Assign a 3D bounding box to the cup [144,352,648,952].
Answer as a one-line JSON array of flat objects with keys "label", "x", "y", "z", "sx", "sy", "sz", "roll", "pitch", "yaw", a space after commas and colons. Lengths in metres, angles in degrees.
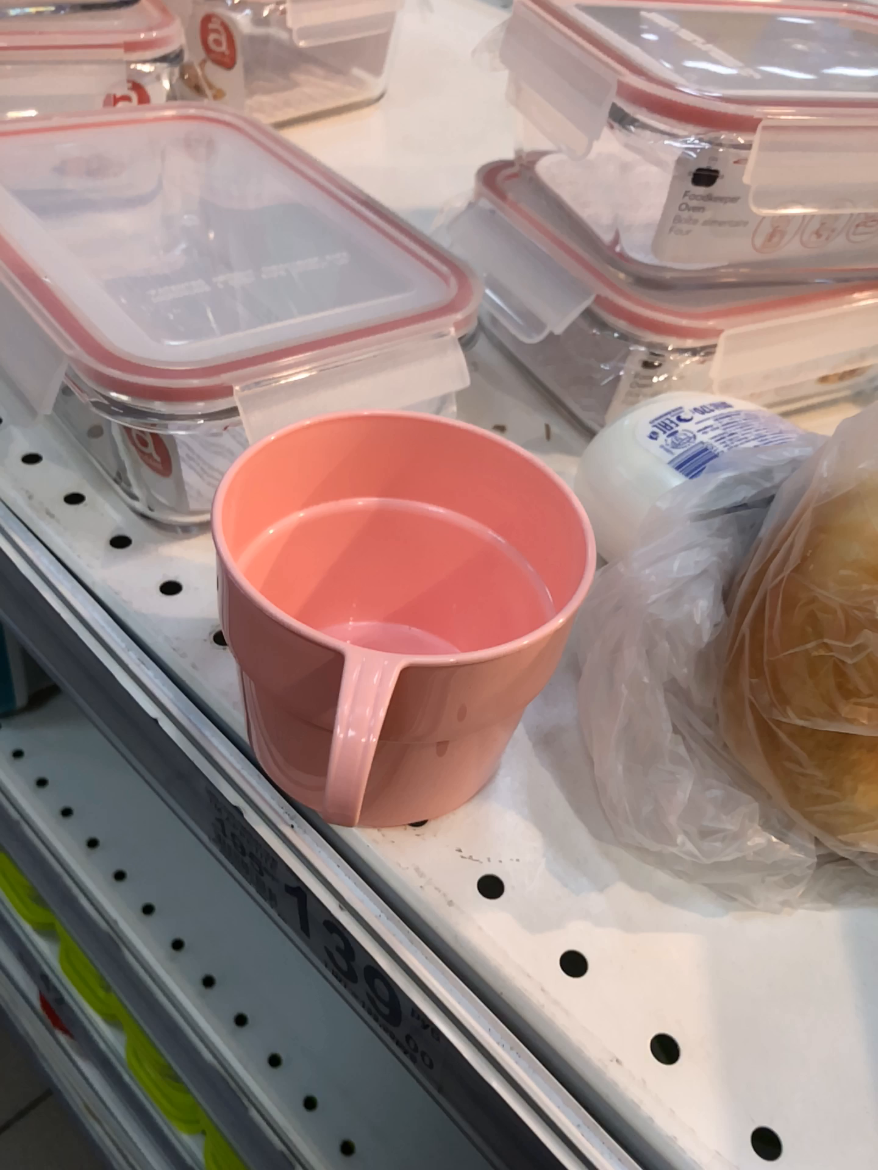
[{"label": "cup", "x": -0.013, "y": 0.012, "z": 0.220, "sx": 0.081, "sy": 0.070, "sz": 0.111, "roll": 5, "pitch": 44, "yaw": -7}]
